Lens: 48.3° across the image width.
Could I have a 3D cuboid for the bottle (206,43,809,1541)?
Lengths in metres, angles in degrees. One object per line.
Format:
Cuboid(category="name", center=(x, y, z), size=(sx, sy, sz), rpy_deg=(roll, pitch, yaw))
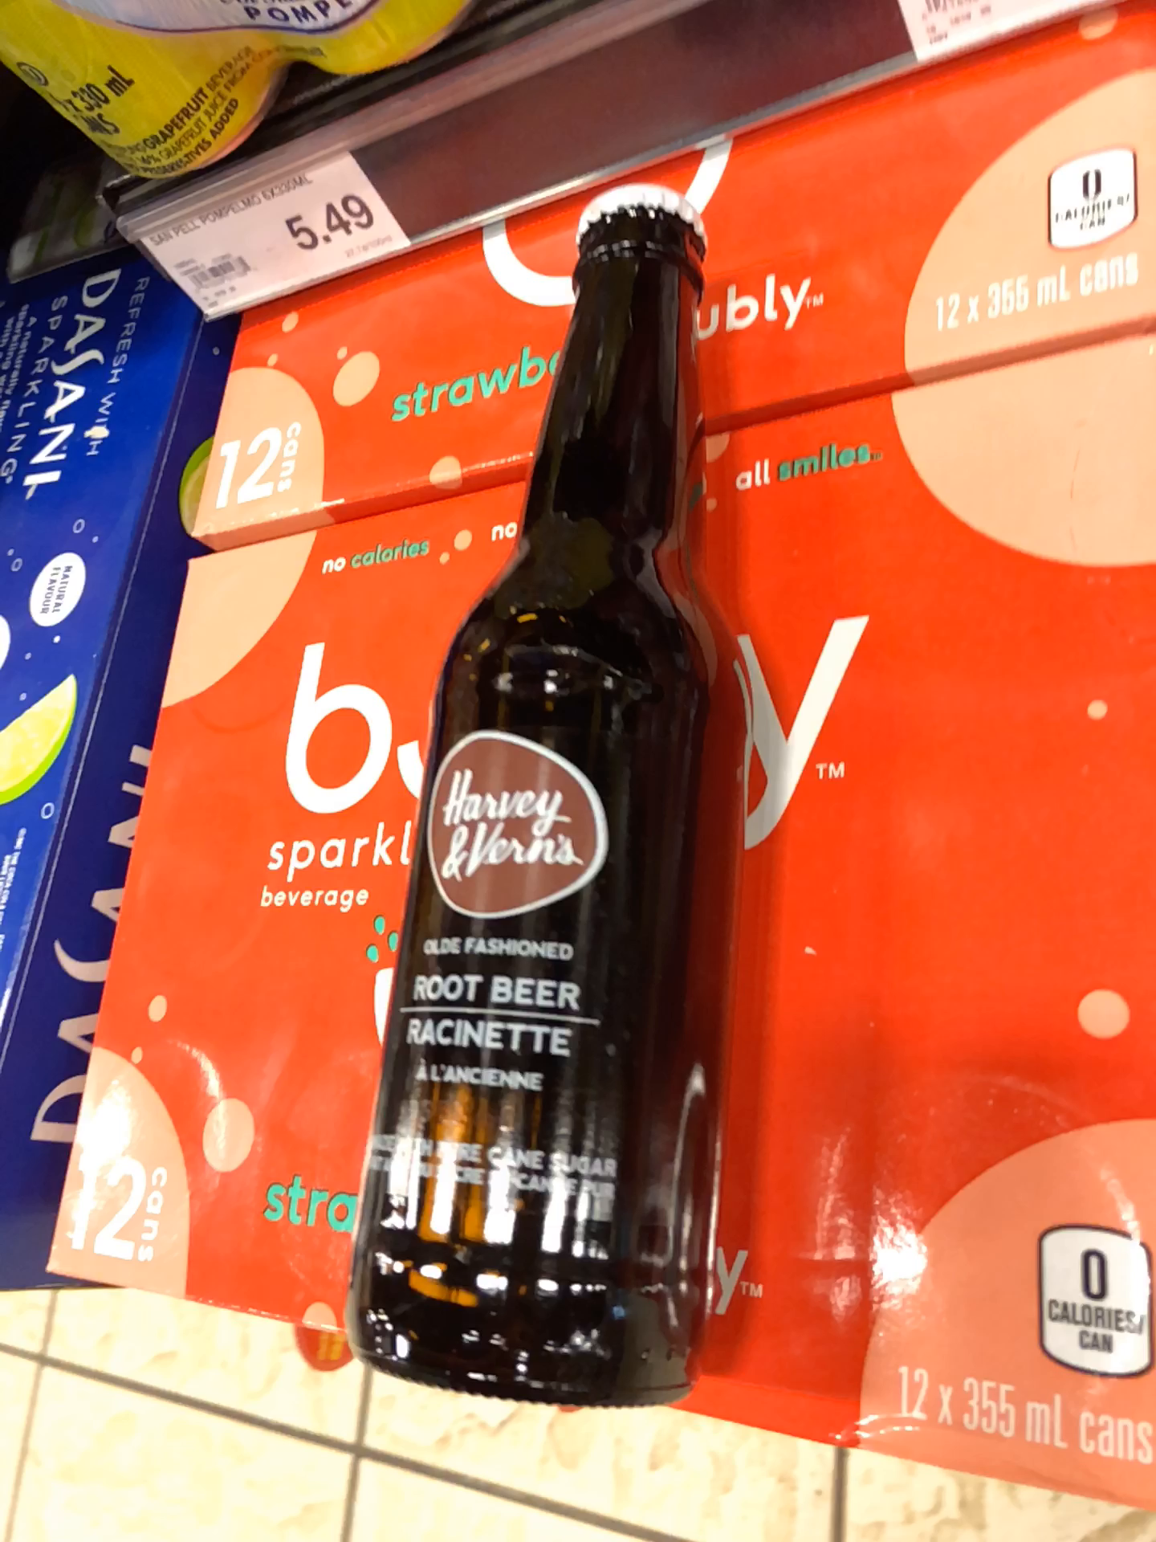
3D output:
Cuboid(category="bottle", center=(-0.002, -0.003, 0.234), size=(0.060, 0.070, 0.230), rpy_deg=(-5, 71, 31))
